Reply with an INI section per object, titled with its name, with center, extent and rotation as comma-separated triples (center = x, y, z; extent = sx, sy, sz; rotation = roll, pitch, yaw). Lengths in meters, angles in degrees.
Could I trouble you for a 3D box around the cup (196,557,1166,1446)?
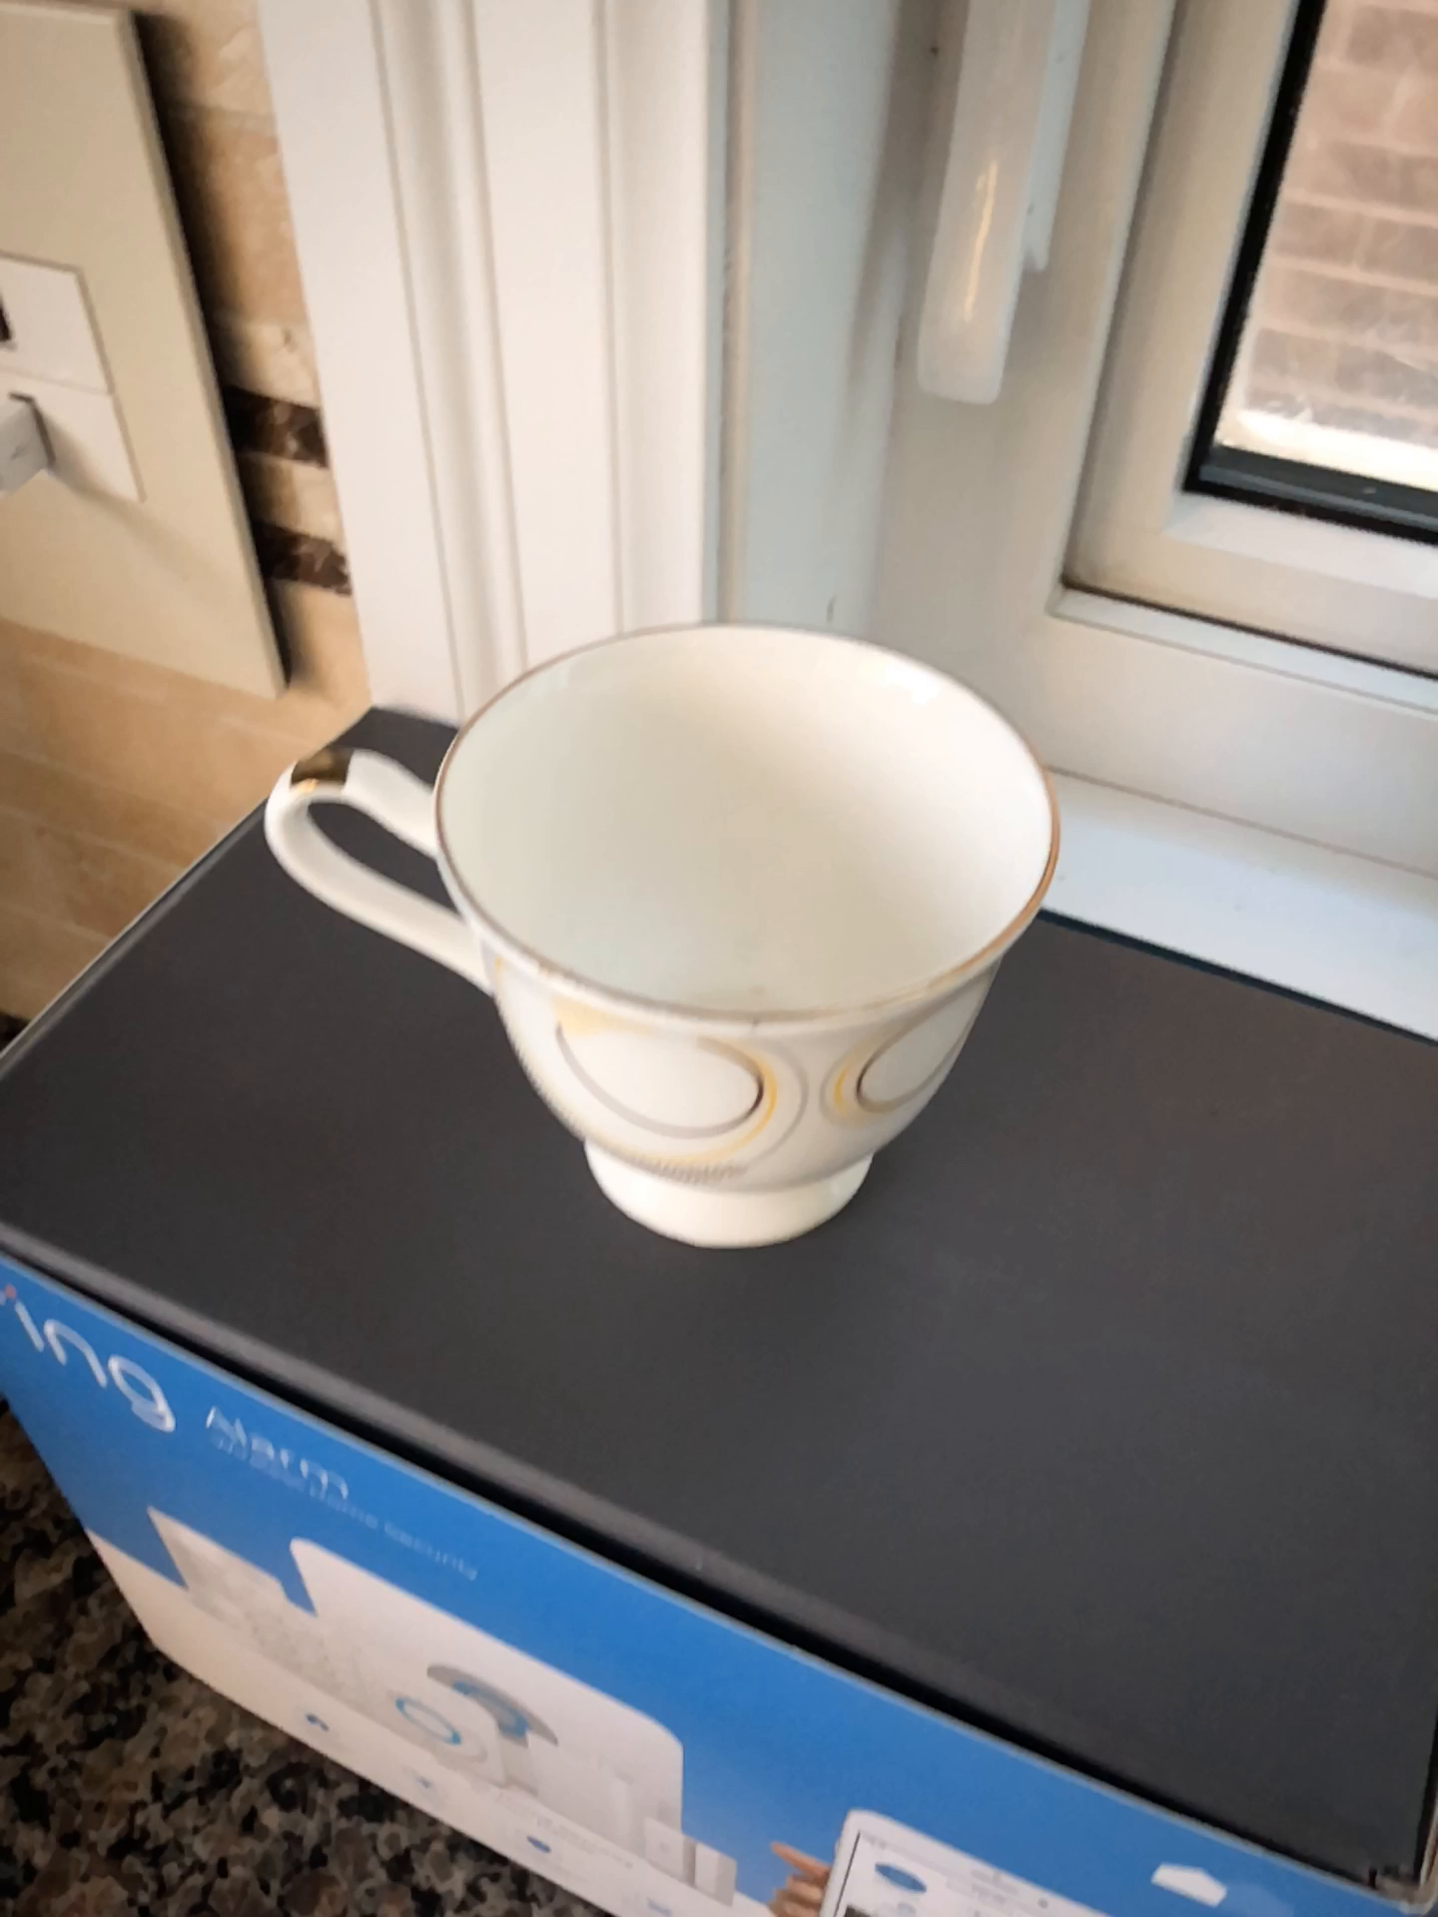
[cup]
center = -0.001, 0.002, 0.226
extent = 0.100, 0.066, 0.077
rotation = 16, 48, 14
